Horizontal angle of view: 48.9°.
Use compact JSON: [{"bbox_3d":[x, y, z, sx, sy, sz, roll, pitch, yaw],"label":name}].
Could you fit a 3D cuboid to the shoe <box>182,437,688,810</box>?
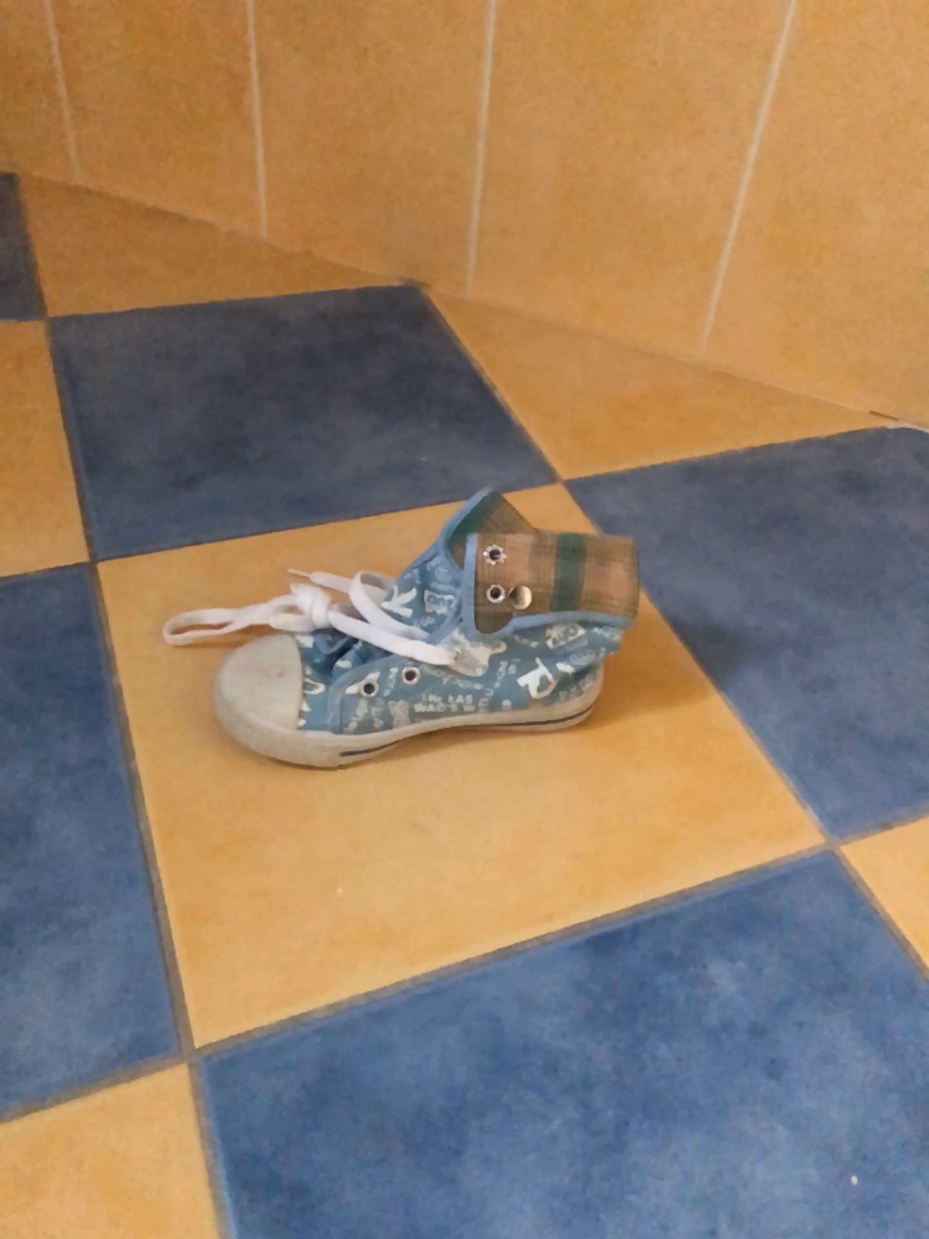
[{"bbox_3d":[-0.017,-0.001,0.472,0.200,0.119,0.080,-9,45,-16],"label":"shoe"}]
